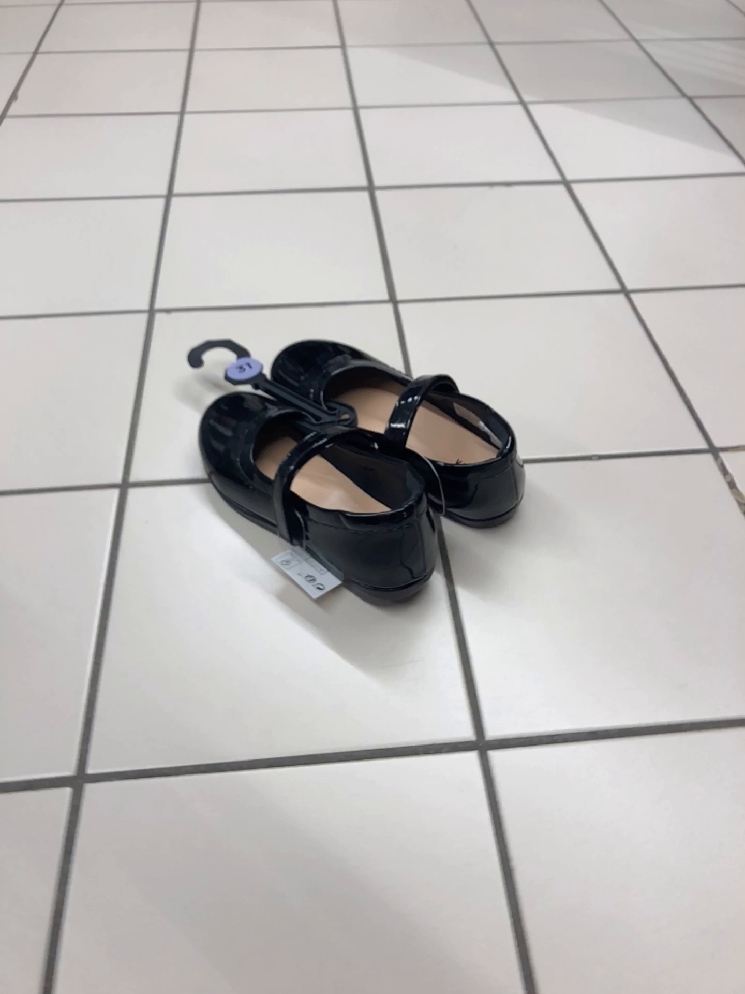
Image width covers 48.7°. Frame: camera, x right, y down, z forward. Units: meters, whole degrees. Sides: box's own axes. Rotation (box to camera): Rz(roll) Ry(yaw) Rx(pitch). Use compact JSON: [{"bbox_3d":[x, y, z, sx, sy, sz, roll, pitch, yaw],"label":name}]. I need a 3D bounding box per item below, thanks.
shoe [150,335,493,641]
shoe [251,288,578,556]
[{"bbox_3d":[-0.036,-0.015,0.497,0.079,0.052,0.210,-35,56,-29],"label":"shoe"},{"bbox_3d":[0.021,-0.057,0.536,0.204,0.056,0.079,35,55,28],"label":"shoe"}]
